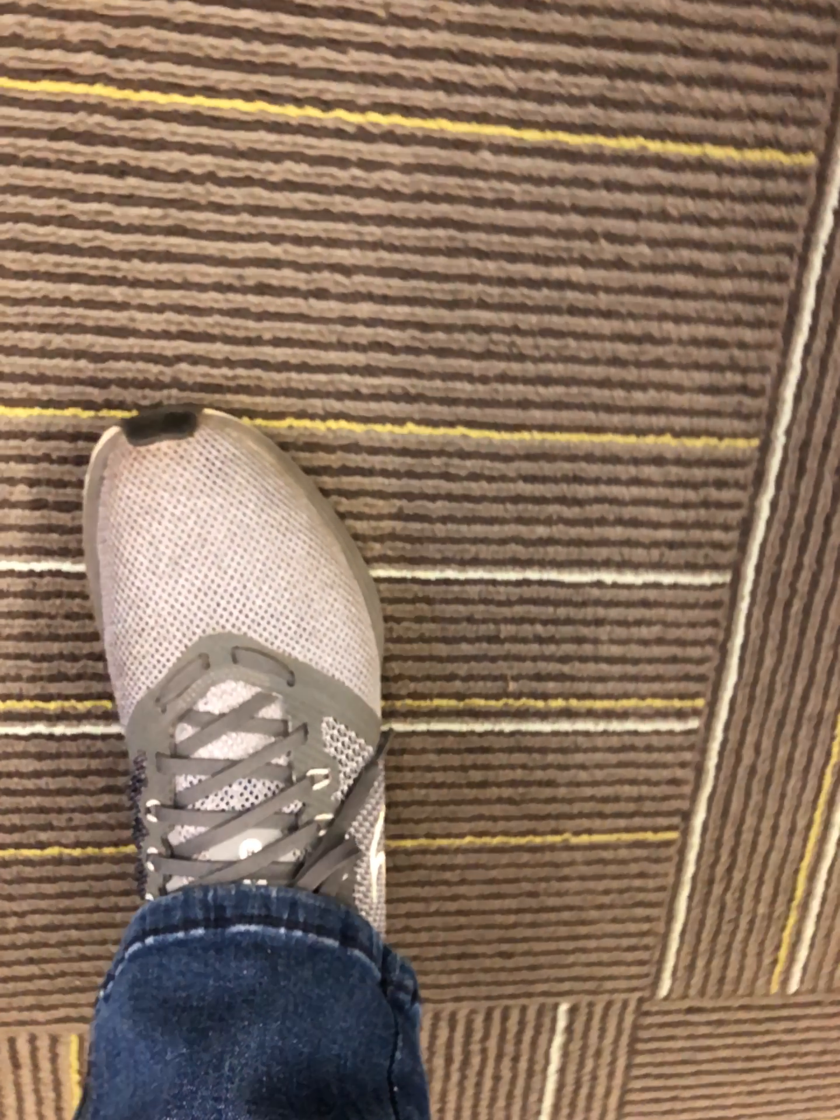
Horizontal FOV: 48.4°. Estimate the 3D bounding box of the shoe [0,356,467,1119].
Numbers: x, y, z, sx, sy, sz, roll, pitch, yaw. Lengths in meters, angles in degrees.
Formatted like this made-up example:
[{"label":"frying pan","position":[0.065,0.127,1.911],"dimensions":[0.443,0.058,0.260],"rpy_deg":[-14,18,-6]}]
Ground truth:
[{"label":"shoe","position":[-0.062,0.080,0.370],"dimensions":[0.120,0.060,0.300],"rpy_deg":[-8,104,-5]}]
